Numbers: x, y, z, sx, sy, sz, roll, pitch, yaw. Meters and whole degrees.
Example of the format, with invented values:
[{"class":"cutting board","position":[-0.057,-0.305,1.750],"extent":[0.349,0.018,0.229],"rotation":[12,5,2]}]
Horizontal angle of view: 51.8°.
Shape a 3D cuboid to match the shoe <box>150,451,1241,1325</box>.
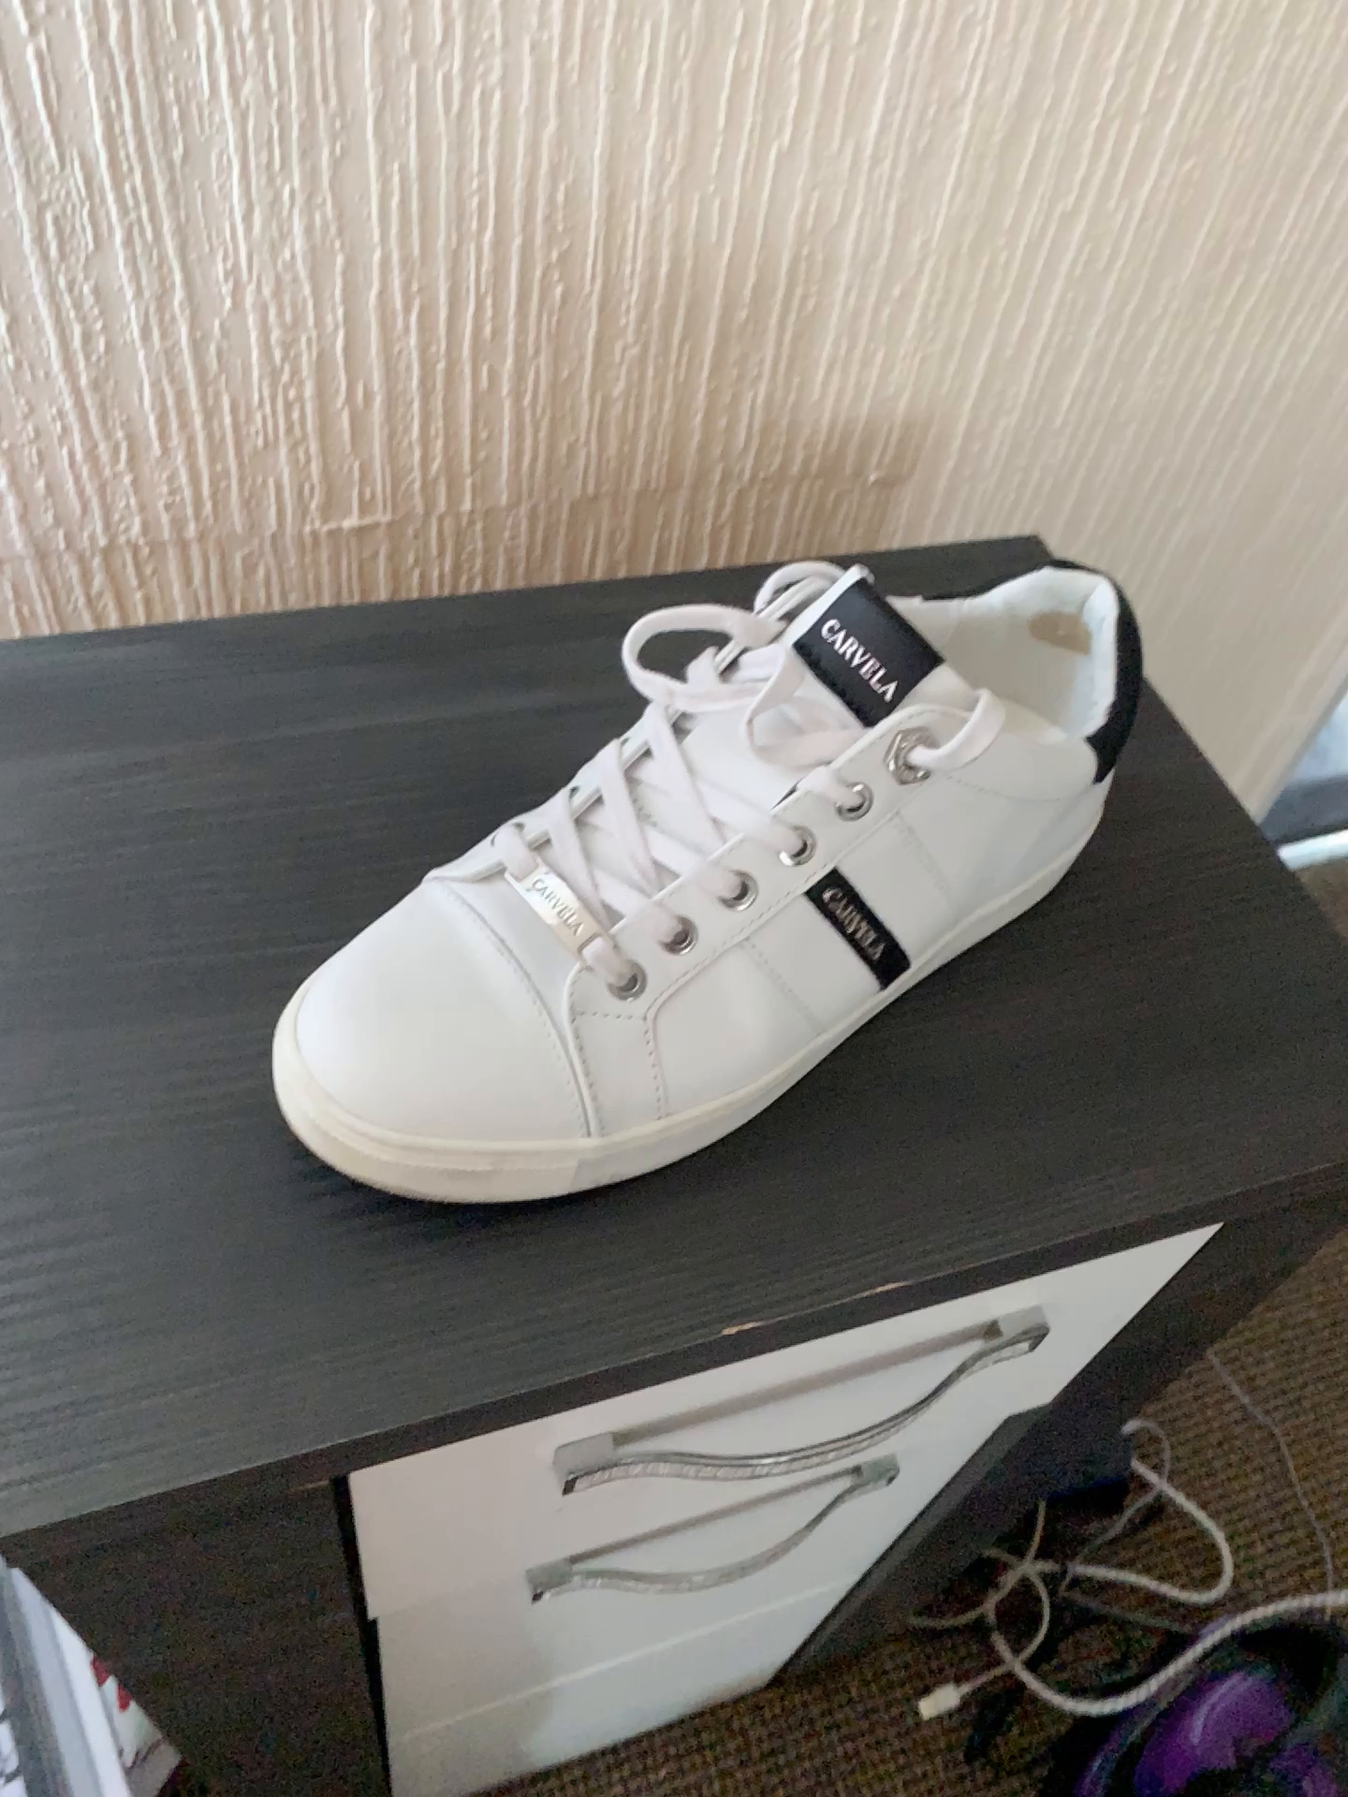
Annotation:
[{"class":"shoe","position":[0.015,-0.019,0.369],"extent":[0.261,0.087,0.104],"rotation":[-29,60,-29]}]
